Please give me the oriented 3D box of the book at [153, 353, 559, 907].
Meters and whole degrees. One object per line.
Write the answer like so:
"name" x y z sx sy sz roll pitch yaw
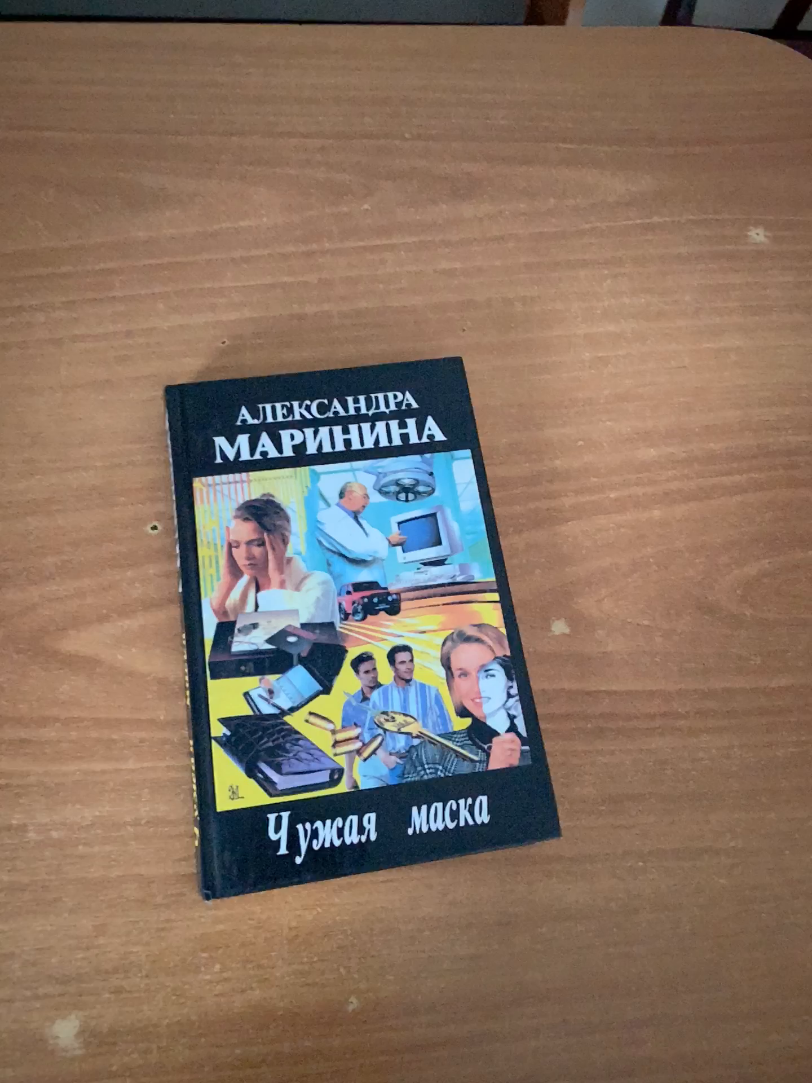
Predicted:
"book" -0.026 0.025 0.332 0.130 0.030 0.201 -7 71 -7
